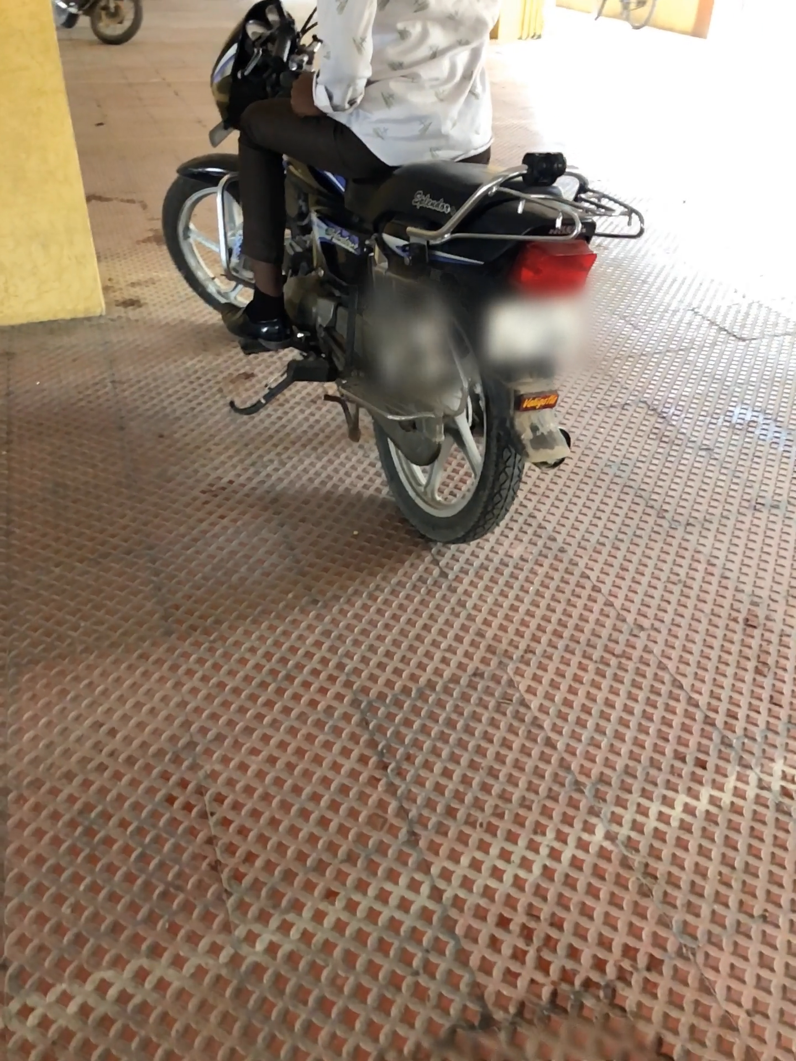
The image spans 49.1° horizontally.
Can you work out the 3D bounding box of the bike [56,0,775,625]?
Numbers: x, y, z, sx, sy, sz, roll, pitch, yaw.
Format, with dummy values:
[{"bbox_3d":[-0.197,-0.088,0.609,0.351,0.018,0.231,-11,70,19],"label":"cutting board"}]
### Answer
[{"bbox_3d":[-0.131,-0.818,2.193,0.686,1.107,1.711,-21,43,-28],"label":"bike"}]
